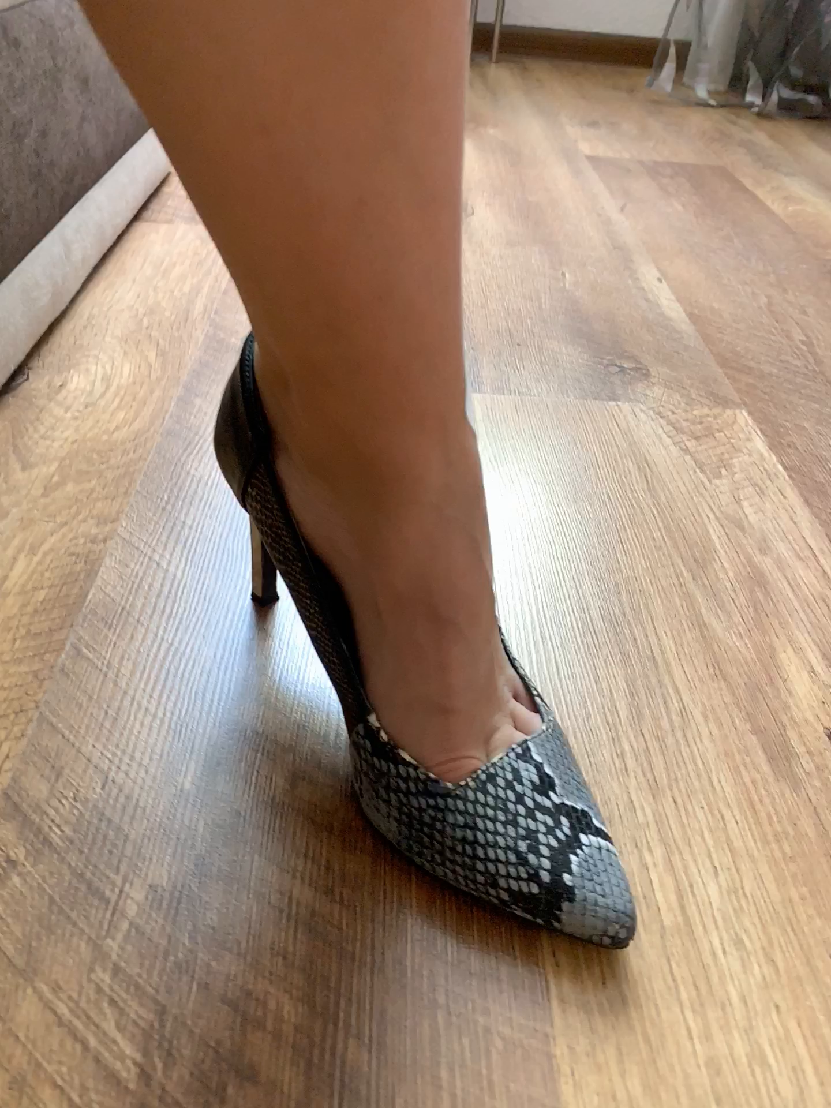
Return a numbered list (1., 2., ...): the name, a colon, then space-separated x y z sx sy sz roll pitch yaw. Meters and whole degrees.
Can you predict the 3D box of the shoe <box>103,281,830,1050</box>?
1. shoe: 0.001 0.010 0.291 0.090 0.109 0.251 -25 47 -34
